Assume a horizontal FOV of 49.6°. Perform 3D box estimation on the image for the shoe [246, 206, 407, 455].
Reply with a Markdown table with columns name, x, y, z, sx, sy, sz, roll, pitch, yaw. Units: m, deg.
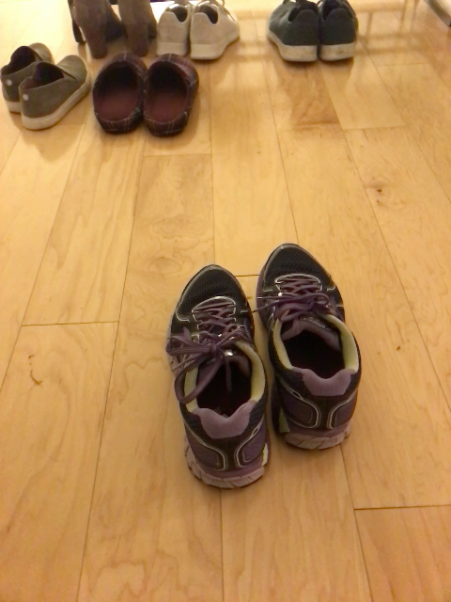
| name | x | y | z | sx | sy | sz | roll | pitch | yaw |
| --- | --- | --- | --- | --- | --- | --- | --- | --- | --- |
| shoe | 0.094 | 0.016 | 0.555 | 0.120 | 0.079 | 0.292 | -3 | 47 | 0 |

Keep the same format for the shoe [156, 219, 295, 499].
| name | x | y | z | sx | sy | sz | roll | pitch | yaw |
| --- | --- | --- | --- | --- | --- | --- | --- | --- | --- |
| shoe | -0.012 | 0.045 | 0.536 | 0.110 | 0.099 | 0.292 | -6 | 48 | -3 |
